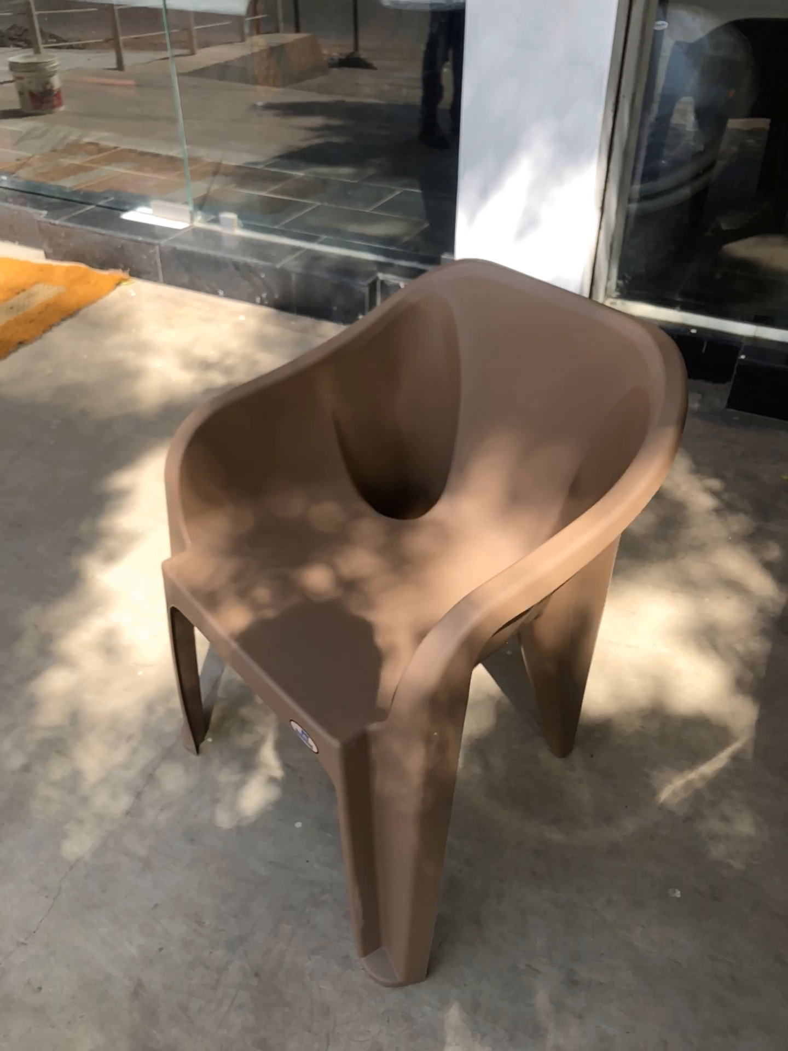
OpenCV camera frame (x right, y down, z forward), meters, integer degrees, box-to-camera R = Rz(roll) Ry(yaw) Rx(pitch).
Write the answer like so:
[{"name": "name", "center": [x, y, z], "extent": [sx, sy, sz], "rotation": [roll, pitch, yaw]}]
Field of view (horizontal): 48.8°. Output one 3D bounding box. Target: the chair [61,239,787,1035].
[{"name": "chair", "center": [0.076, 0.071, 1.239], "extent": [0.723, 0.637, 0.641], "rotation": [-27, 44, -31]}]
